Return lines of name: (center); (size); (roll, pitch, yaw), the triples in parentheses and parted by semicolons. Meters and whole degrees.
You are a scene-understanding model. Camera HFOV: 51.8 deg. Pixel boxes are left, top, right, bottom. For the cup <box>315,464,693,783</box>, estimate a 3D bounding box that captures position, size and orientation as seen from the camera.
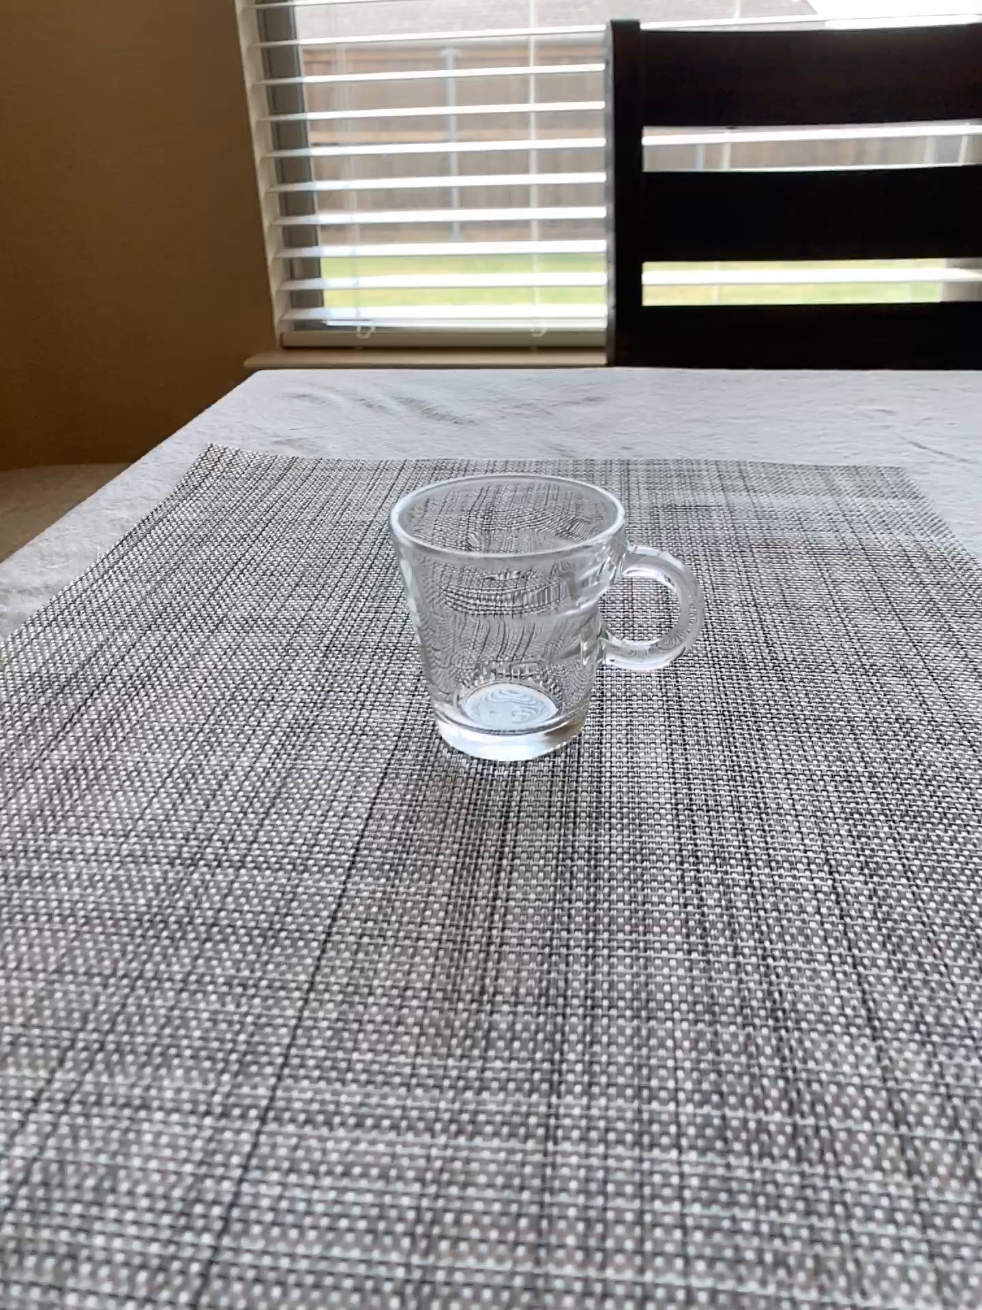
cup: (0.007, -0.010, 0.258); (0.083, 0.060, 0.058); (0, 28, 8)
